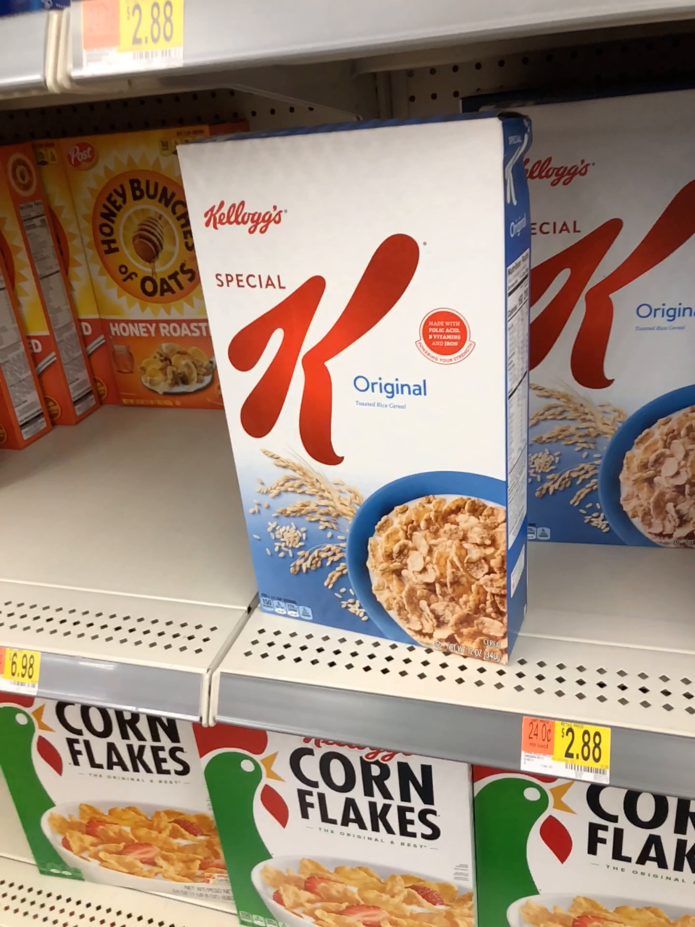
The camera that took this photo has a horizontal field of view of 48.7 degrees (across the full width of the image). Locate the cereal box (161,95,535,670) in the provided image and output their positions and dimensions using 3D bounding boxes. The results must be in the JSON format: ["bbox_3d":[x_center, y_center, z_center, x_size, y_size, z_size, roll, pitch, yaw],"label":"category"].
[{"bbox_3d":[0.014,-0.043,0.492,0.190,0.329,0.080,7,29,25],"label":"cereal box"}]
